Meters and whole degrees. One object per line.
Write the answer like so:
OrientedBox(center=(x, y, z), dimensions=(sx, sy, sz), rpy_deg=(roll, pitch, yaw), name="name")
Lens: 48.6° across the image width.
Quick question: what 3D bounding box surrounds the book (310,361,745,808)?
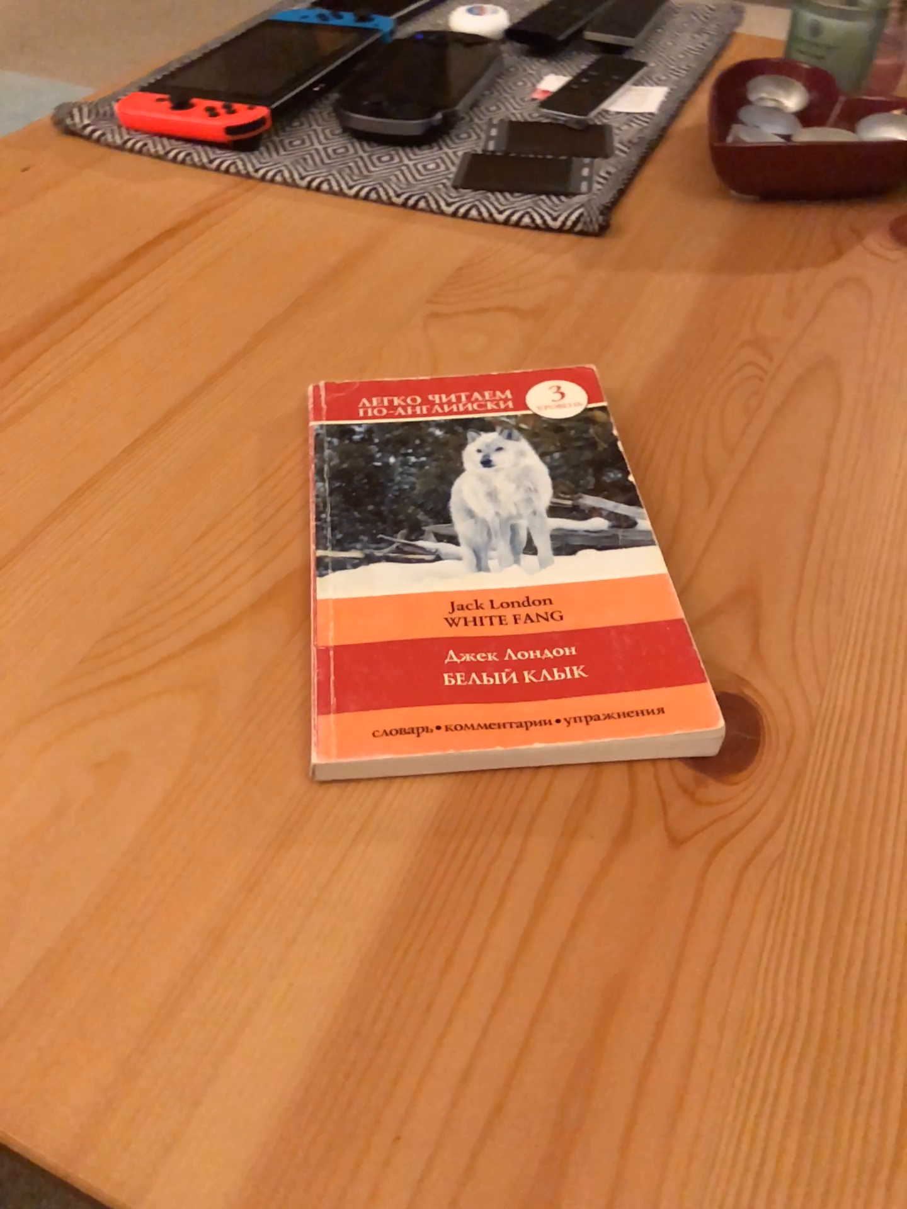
OrientedBox(center=(0.013, -0.023, 0.375), dimensions=(0.129, 0.020, 0.205), rpy_deg=(-4, 46, -5), name="book")
